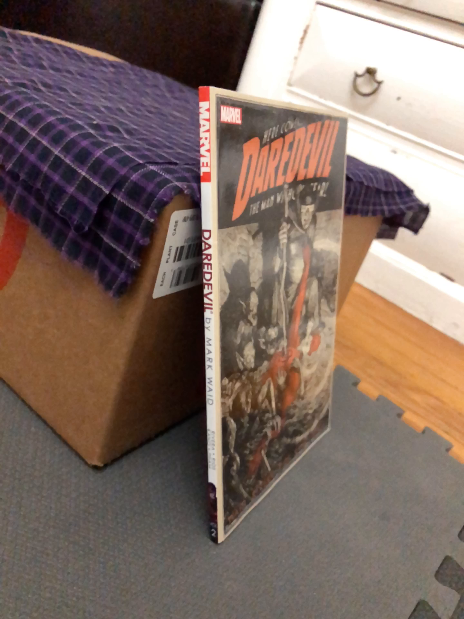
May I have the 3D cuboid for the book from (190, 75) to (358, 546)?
[{"bbox_3d":[0.033,-0.006,0.315,0.020,0.229,0.161,9,18,31],"label":"book"}]
